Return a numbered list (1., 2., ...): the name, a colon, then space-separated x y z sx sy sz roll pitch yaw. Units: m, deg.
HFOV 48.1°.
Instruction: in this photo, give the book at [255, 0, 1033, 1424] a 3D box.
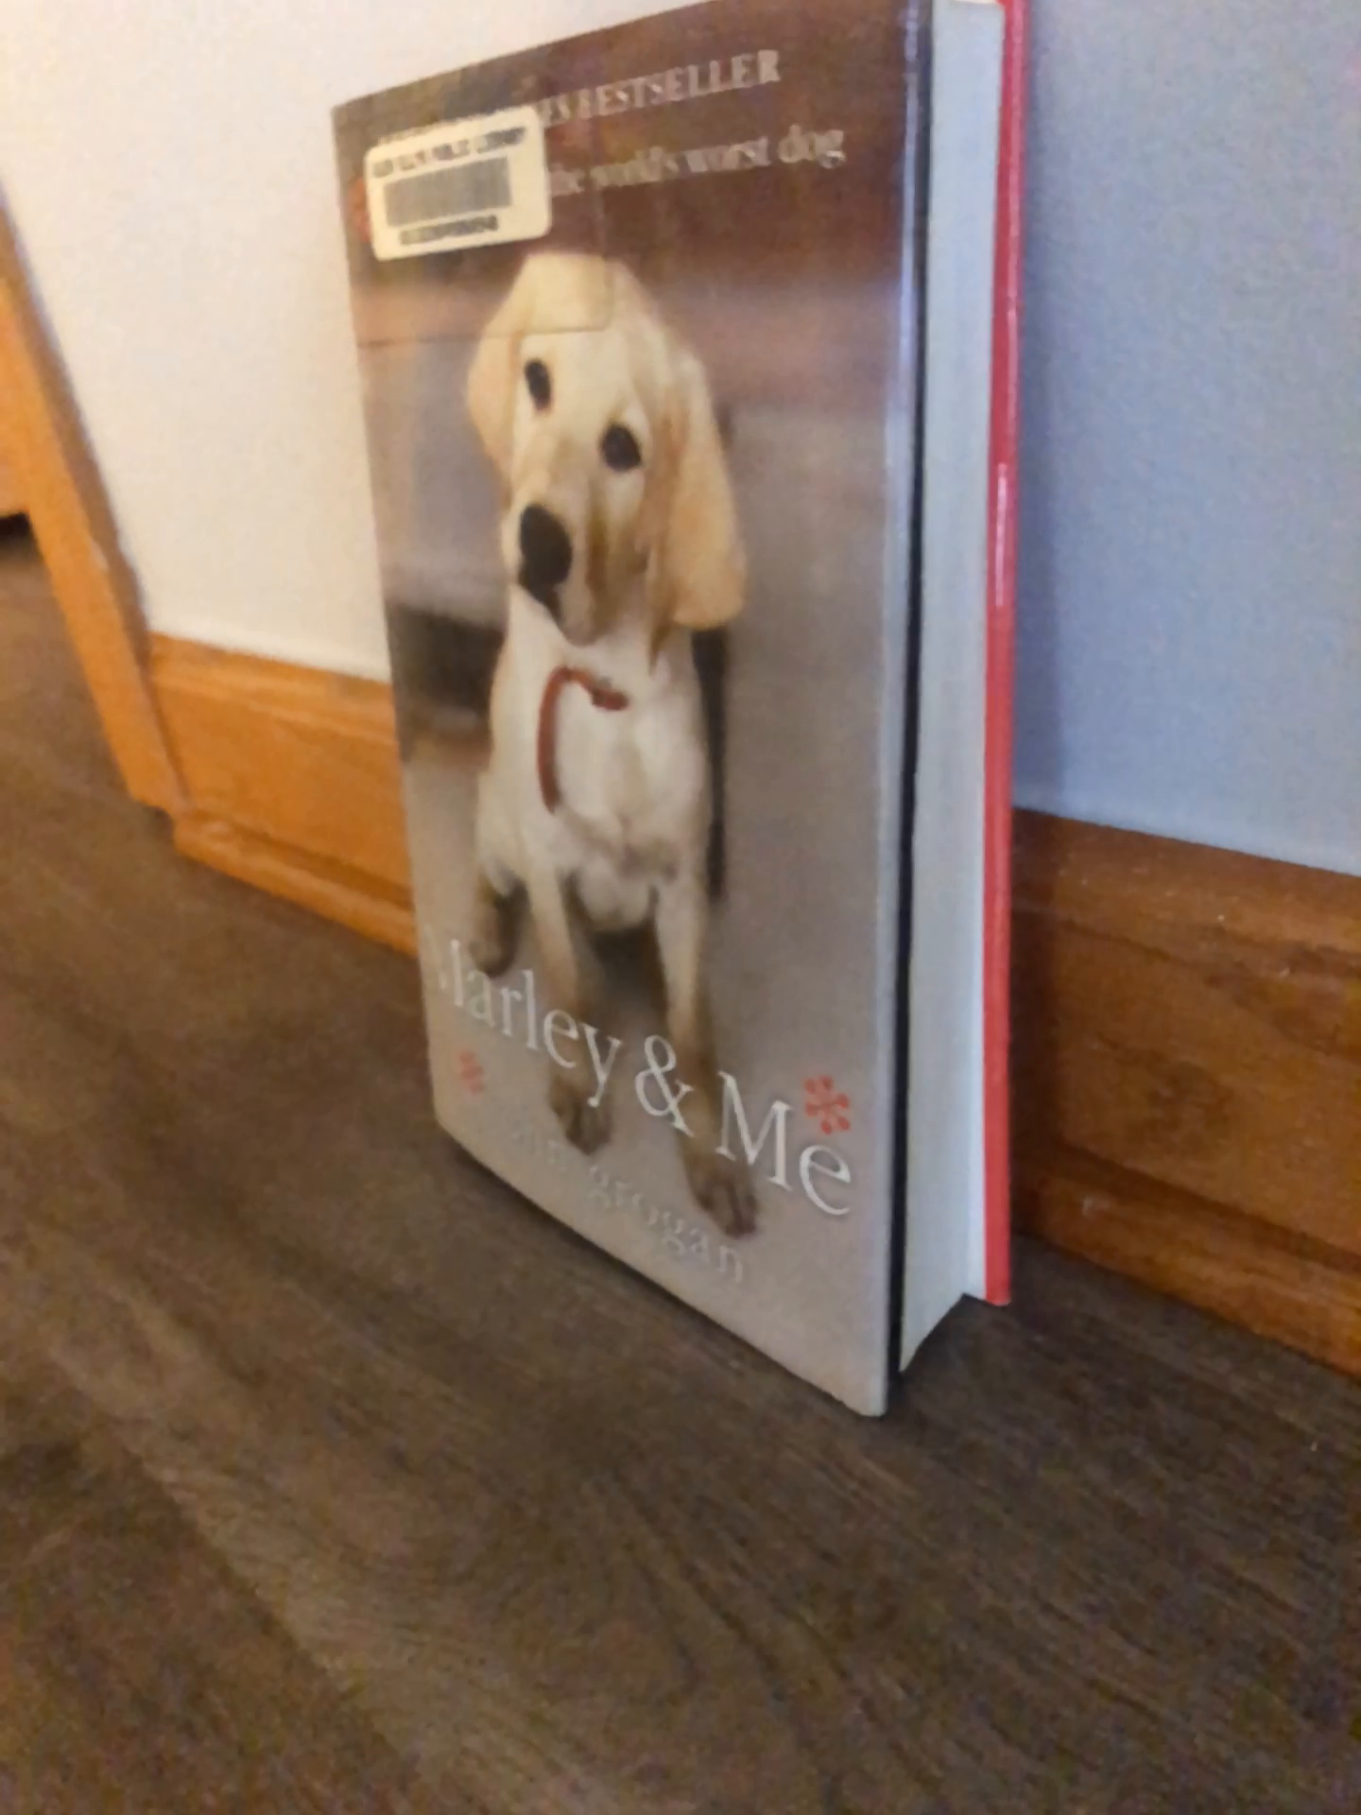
1. book: -0.011 -0.041 0.282 0.040 0.219 0.151 -19 25 -36
